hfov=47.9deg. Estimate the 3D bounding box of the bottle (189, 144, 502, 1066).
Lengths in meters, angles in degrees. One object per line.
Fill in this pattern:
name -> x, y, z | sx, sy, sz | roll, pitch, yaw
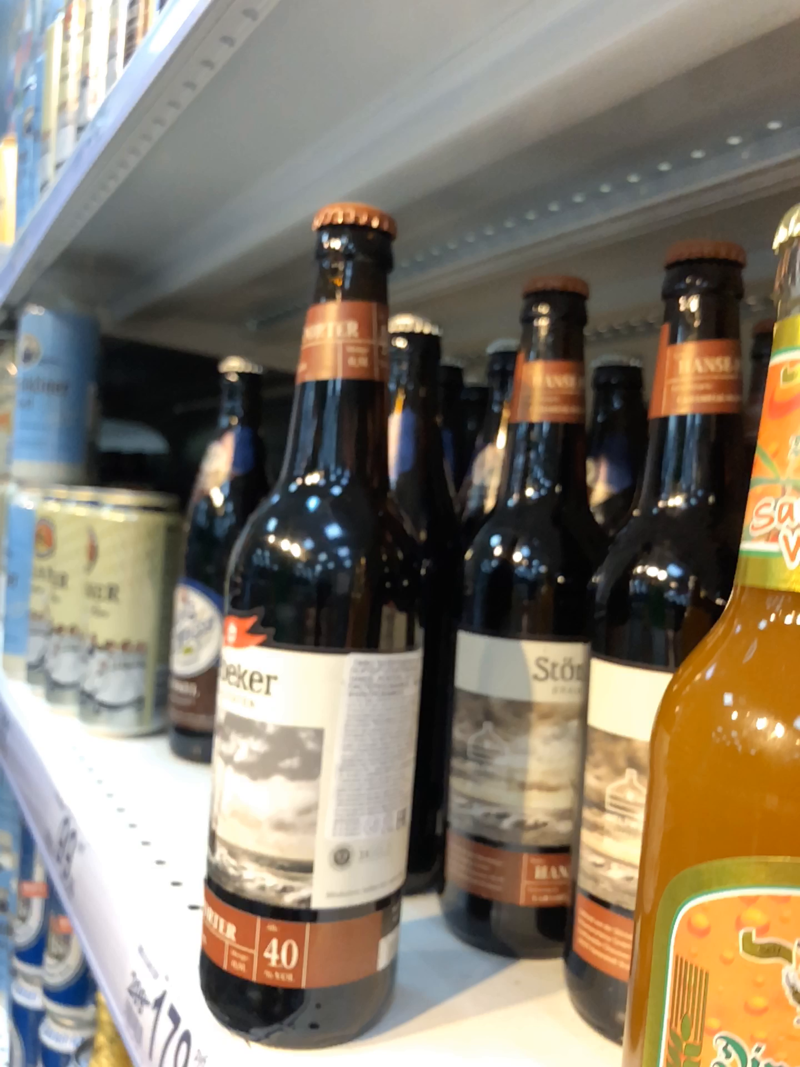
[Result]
bottle -> -0.022, 0.024, 0.315 | 0.070, 0.280, 0.070 | 4, 1, 0
